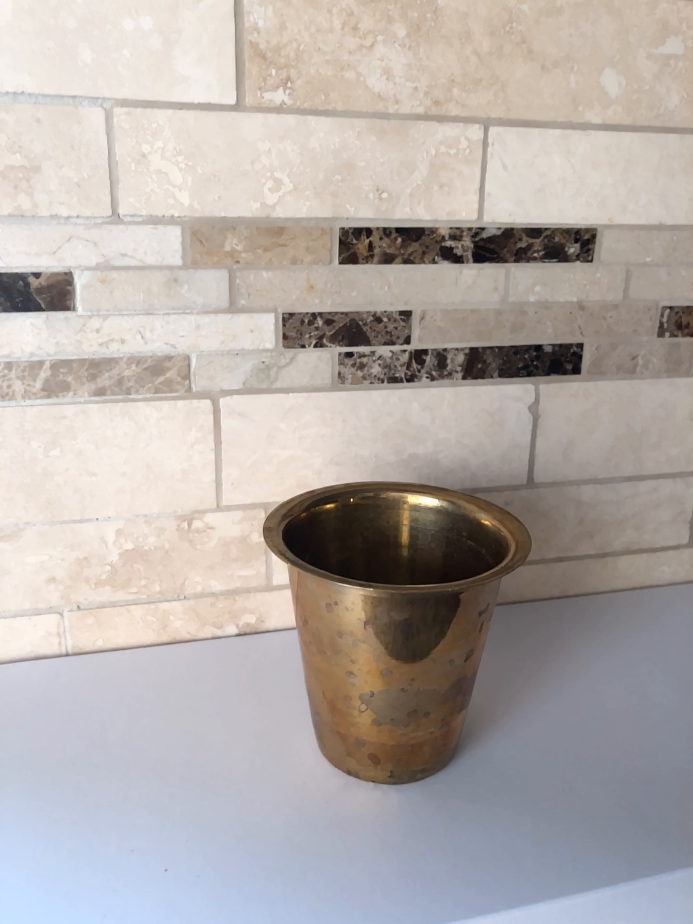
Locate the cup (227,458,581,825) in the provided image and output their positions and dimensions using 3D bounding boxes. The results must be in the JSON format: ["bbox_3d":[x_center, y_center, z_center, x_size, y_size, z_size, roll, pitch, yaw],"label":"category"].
[{"bbox_3d":[0.012,0.048,0.243,0.083,0.071,0.075,-5,19,-18],"label":"cup"}]
